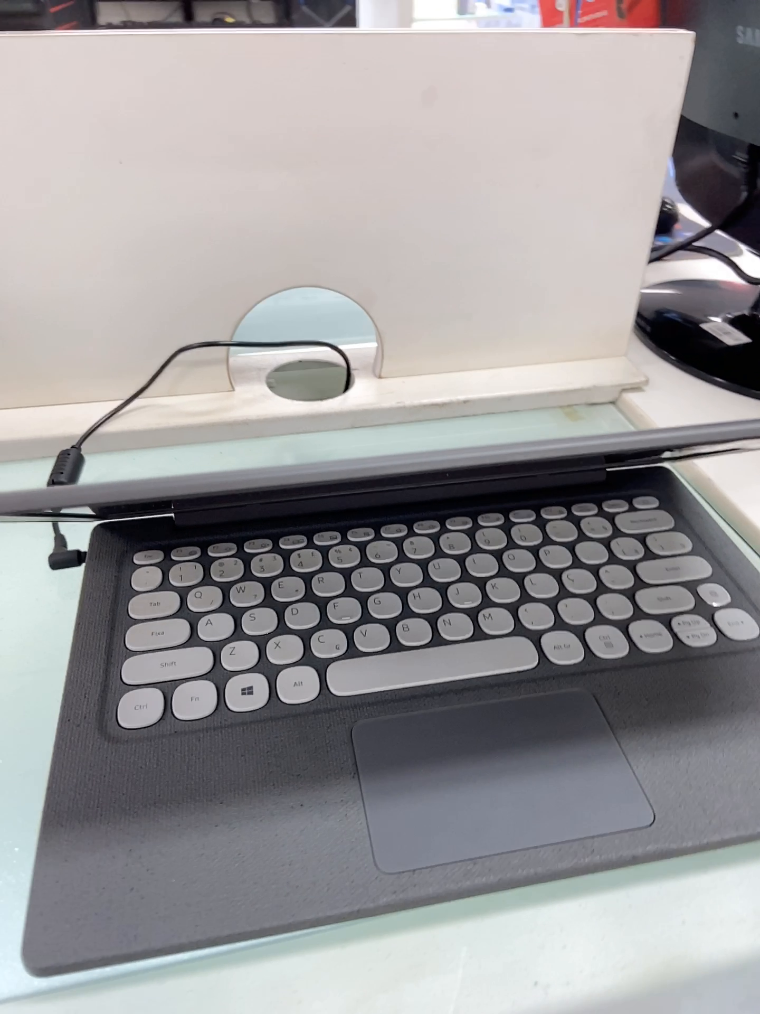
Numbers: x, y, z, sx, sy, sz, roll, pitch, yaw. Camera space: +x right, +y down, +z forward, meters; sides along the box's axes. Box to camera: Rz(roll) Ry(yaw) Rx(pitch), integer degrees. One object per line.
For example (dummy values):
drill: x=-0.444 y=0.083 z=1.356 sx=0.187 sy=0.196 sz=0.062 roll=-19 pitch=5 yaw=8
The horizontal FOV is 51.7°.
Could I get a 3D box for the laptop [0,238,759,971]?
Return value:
laptop: x=0.033 y=0.004 z=0.302 sx=0.316 sy=0.132 sz=0.212 roll=-6 pitch=37 yaw=-10
